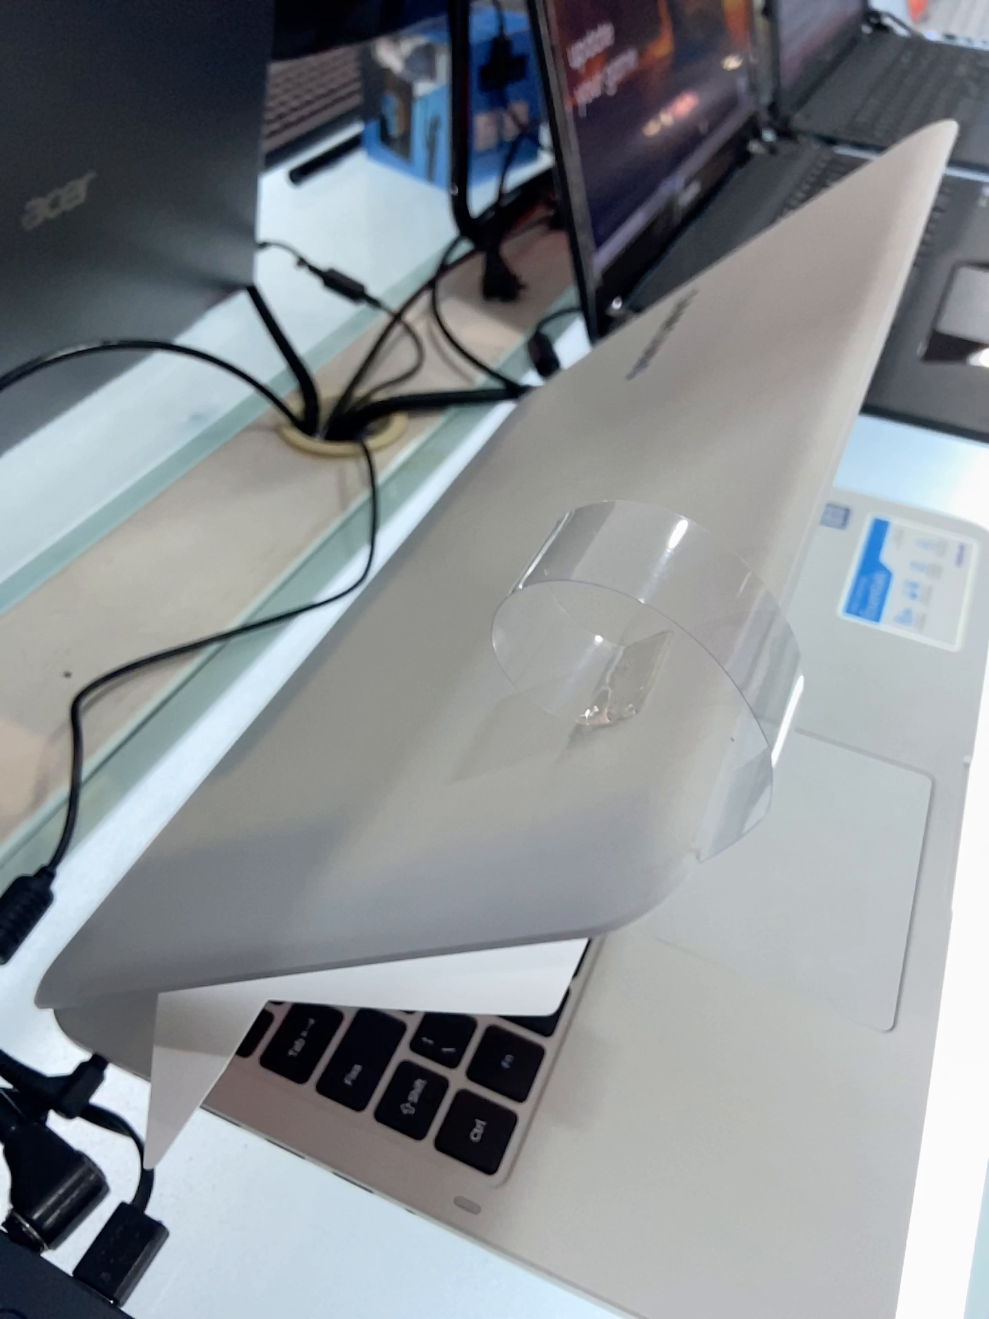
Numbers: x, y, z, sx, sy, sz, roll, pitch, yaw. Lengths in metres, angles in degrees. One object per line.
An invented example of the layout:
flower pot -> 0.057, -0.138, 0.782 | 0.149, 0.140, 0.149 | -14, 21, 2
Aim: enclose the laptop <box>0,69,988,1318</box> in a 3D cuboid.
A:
laptop -> 0.054, -0.038, 0.335 | 0.232, 0.162, 0.369 | 18, 46, 16
